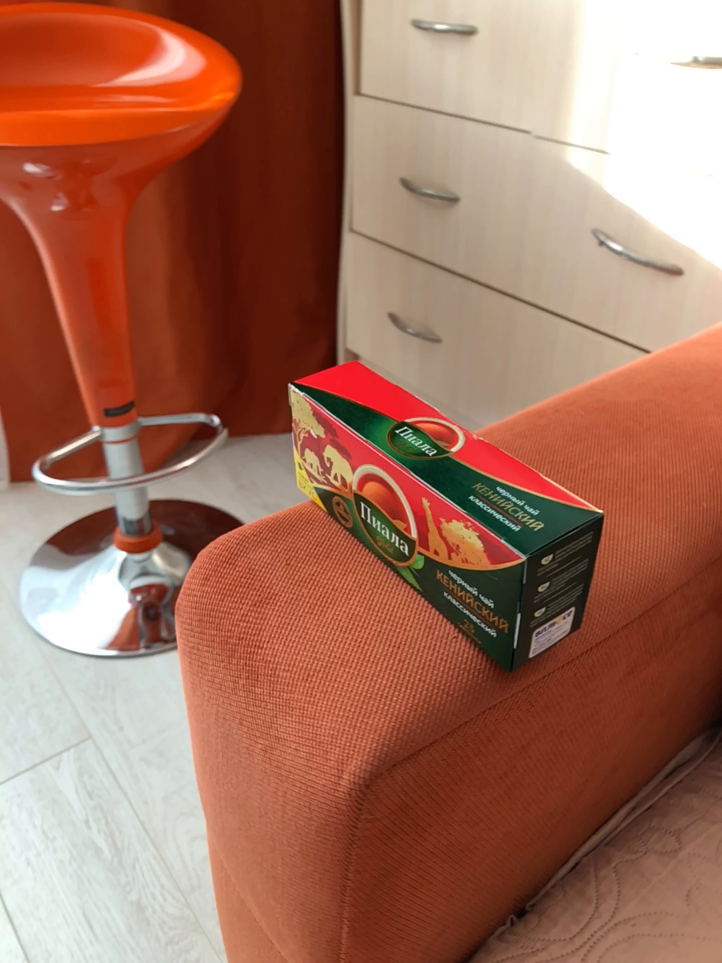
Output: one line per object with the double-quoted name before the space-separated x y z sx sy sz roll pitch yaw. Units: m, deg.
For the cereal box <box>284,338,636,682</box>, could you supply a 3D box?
"cereal box" 0.032 0.002 0.360 0.050 0.069 0.171 -21 39 -29
